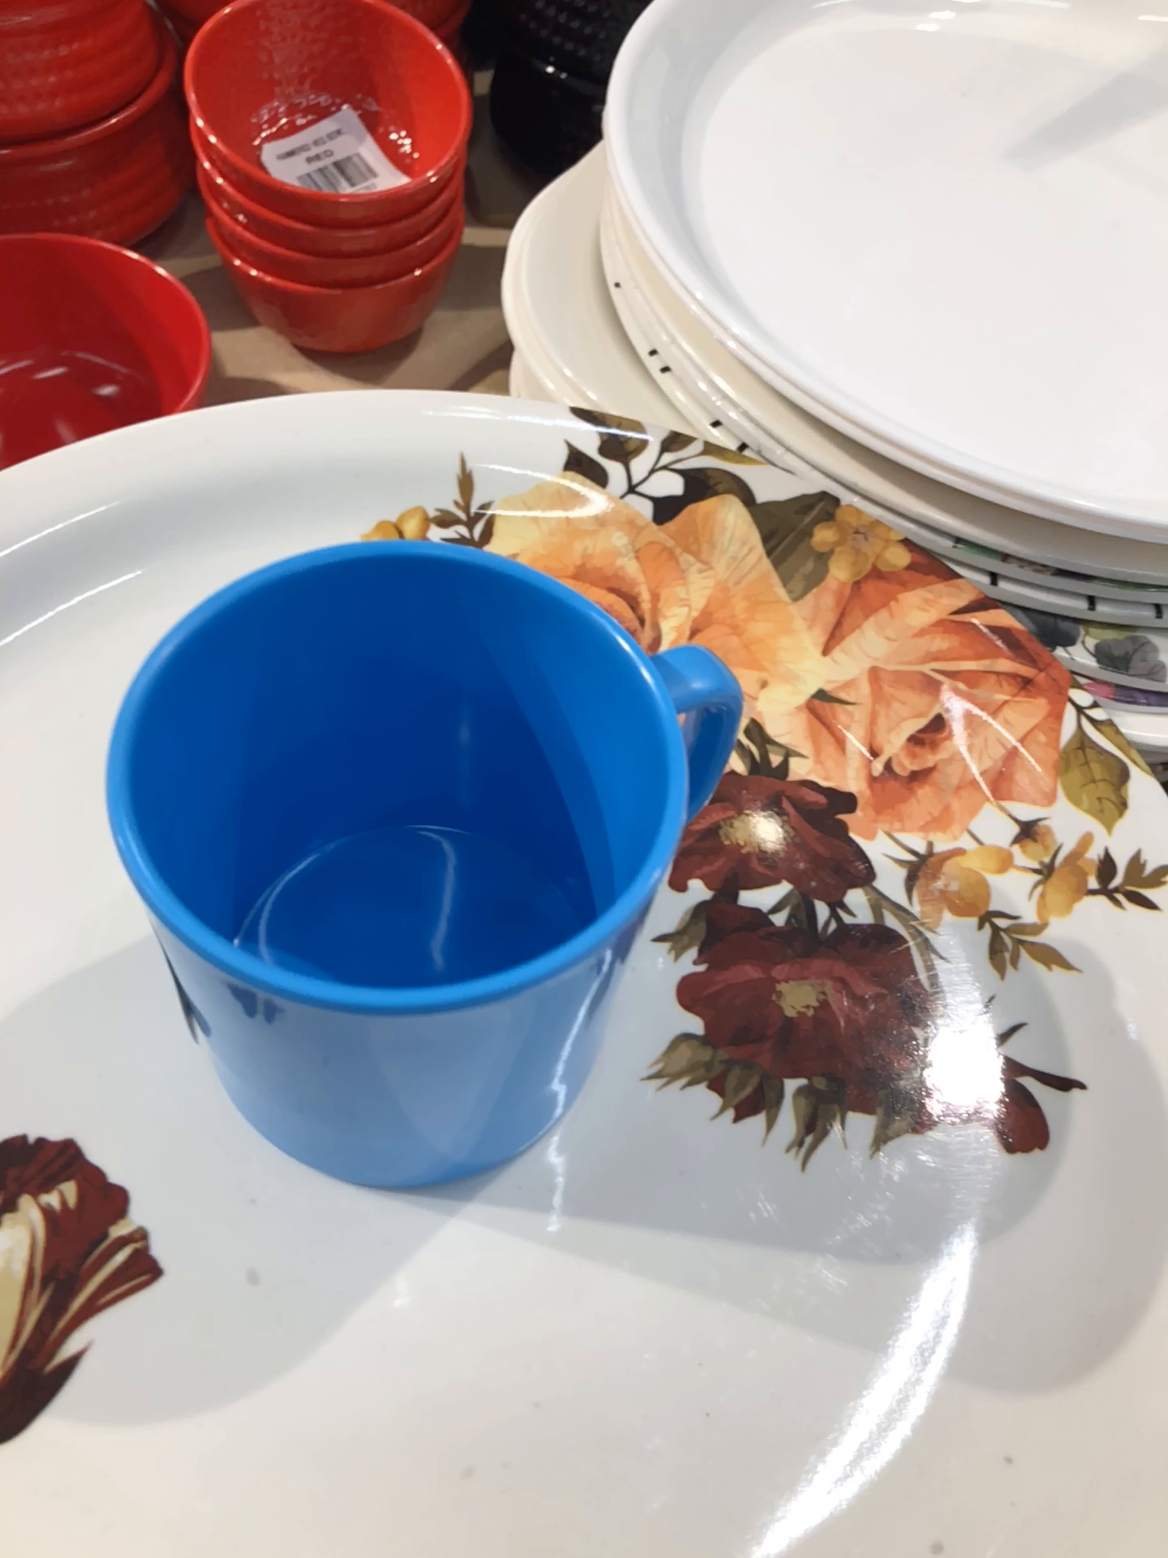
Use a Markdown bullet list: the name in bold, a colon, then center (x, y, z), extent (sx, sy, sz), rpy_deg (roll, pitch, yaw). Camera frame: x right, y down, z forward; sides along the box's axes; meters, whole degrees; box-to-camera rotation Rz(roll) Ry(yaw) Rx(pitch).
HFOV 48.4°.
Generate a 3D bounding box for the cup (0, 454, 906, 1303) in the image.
- **cup**: center (-0.023, 0.018, 0.229), extent (0.110, 0.090, 0.080), rpy_deg (-23, 62, -19)
